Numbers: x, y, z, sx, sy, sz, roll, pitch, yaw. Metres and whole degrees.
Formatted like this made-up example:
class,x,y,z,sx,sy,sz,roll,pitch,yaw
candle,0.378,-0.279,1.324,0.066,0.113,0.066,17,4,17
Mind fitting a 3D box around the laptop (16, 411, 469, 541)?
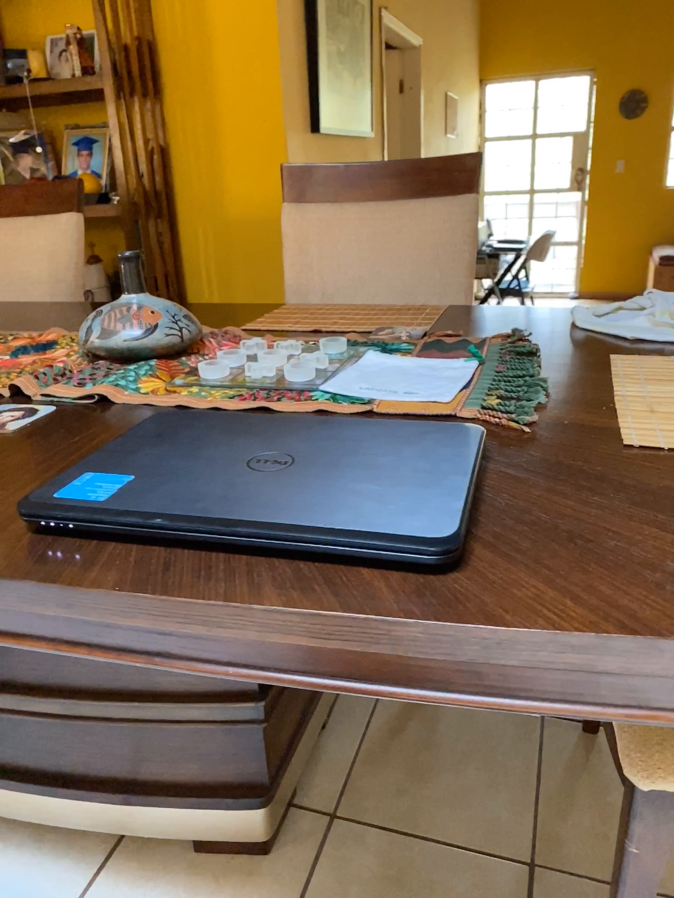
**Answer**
class,x,y,z,sx,sy,sz,roll,pitch,yaw
laptop,-0.067,0.010,0.647,0.352,0.001,0.249,3,22,15
